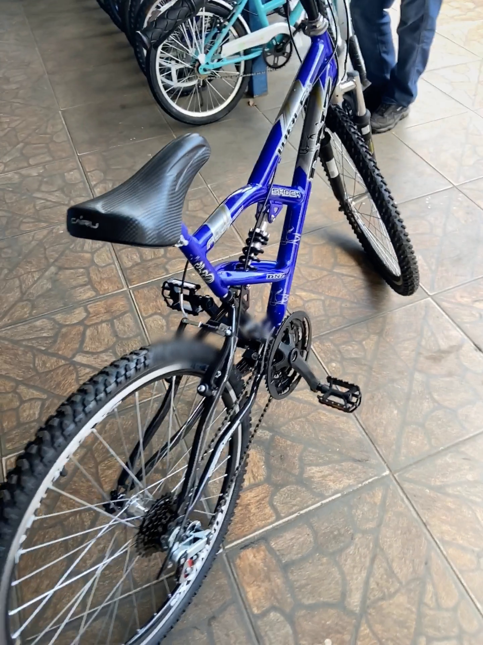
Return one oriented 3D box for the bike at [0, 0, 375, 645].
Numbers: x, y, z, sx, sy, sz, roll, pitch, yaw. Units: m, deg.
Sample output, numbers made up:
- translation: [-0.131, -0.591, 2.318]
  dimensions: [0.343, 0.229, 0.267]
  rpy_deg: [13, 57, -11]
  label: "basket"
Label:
- translation: [-0.181, -0.147, 1.136]
  dimensions: [0.514, 1.020, 1.618]
  rpy_deg: [15, 52, 18]
  label: "bike"
